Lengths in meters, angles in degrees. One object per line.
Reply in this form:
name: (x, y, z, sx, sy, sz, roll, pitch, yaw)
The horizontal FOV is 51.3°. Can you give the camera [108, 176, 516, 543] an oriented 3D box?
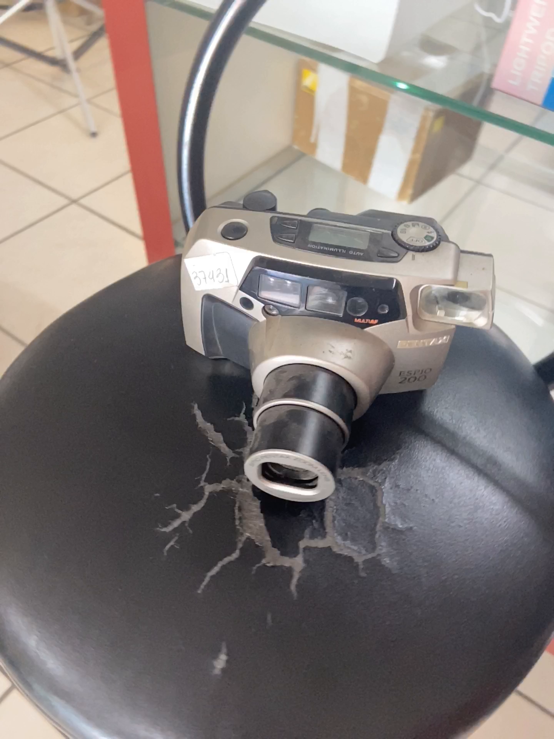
camera: (0.017, -0.009, 0.251, 0.130, 0.080, 0.121, 8, 49, 5)
